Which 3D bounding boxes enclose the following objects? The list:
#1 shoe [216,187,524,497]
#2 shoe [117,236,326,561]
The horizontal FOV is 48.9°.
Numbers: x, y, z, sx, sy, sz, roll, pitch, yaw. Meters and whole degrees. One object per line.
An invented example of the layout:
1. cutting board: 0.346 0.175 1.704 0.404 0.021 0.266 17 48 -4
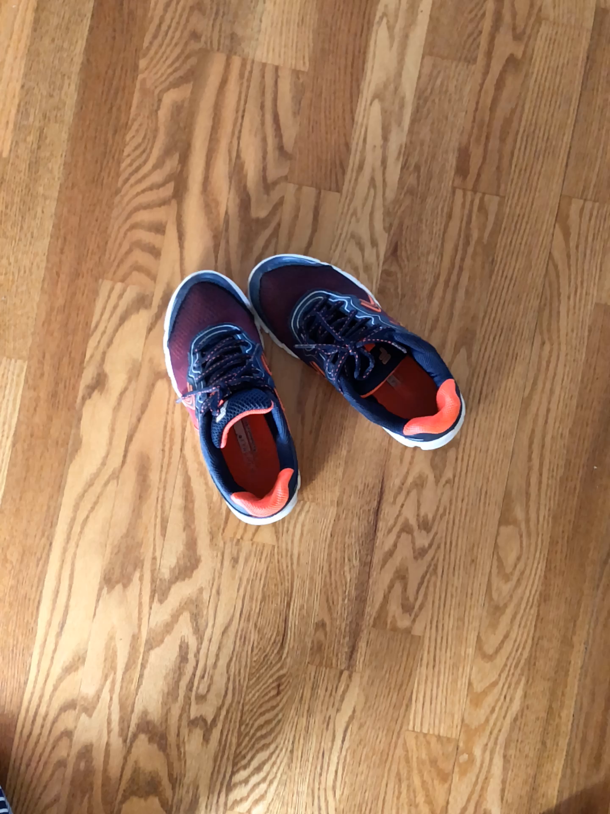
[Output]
1. shoe: 0.058 -0.057 0.658 0.116 0.110 0.277 -45 90 -2
2. shoe: -0.076 -0.008 0.653 0.108 0.110 0.270 -18 90 -2
